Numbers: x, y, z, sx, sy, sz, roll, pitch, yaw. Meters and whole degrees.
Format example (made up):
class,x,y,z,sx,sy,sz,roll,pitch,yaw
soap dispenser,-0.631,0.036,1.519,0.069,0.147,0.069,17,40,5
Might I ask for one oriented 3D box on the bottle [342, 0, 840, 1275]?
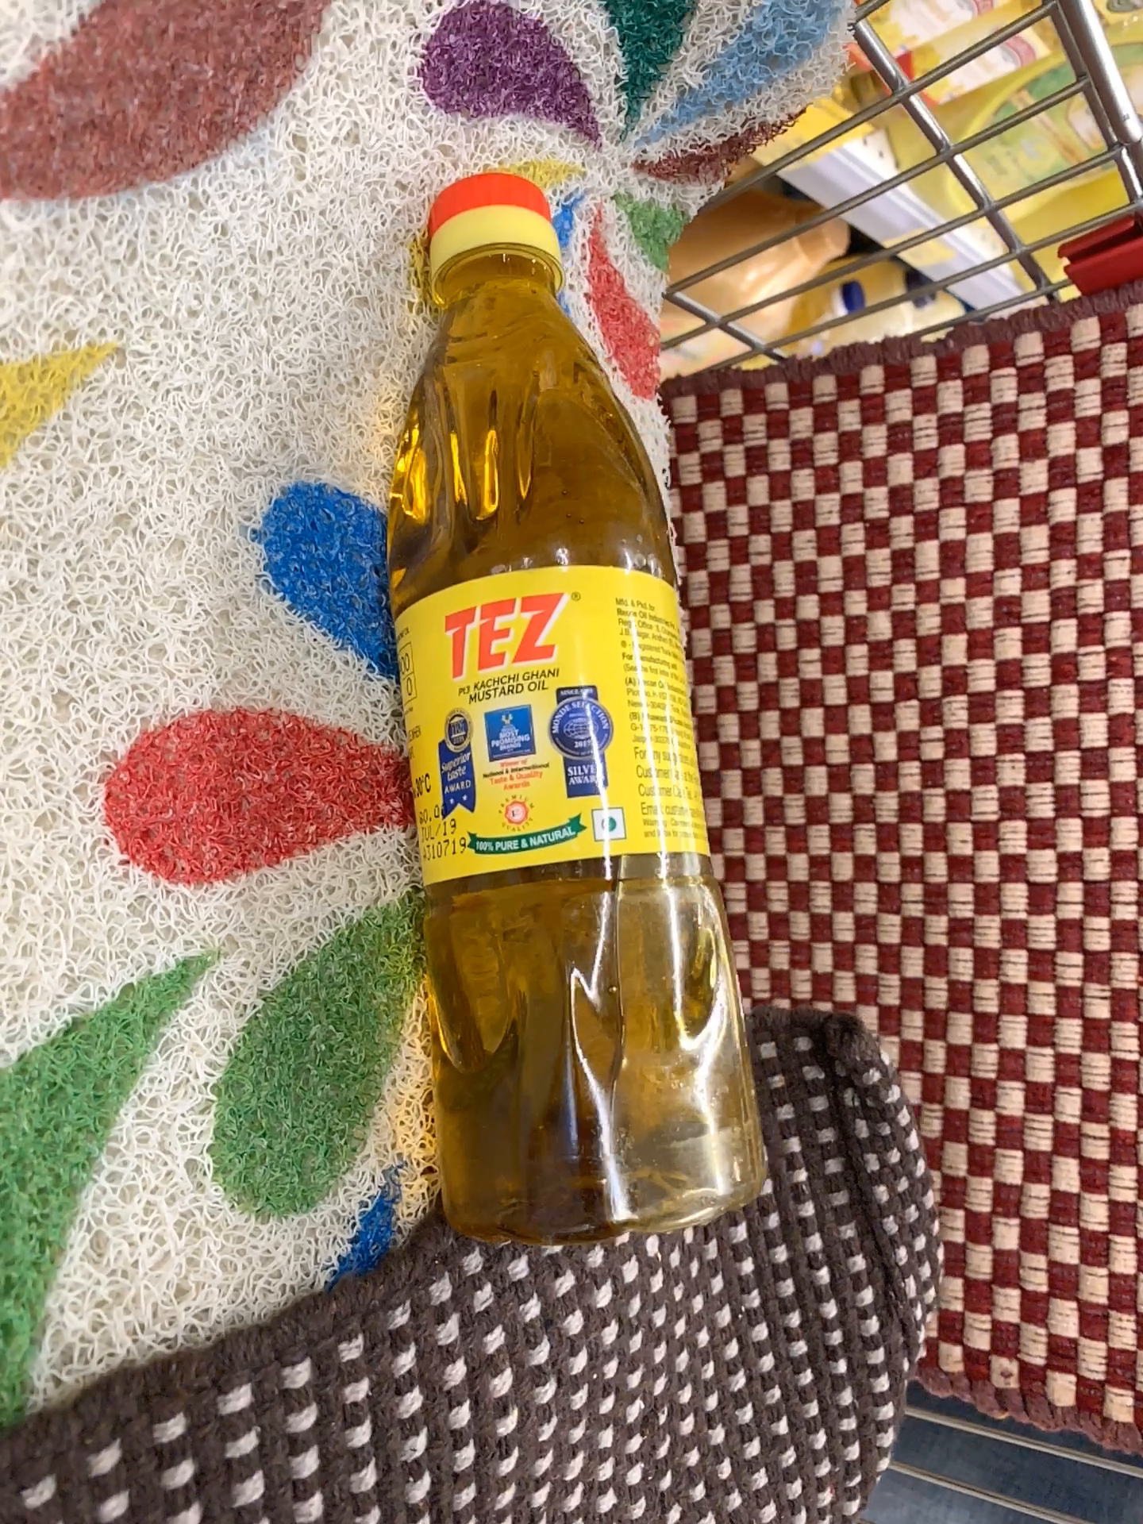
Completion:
class,x,y,z,sx,sy,sz,roll,pitch,yaw
bottle,0.005,-0.021,0.226,0.070,0.060,0.200,6,80,-59
